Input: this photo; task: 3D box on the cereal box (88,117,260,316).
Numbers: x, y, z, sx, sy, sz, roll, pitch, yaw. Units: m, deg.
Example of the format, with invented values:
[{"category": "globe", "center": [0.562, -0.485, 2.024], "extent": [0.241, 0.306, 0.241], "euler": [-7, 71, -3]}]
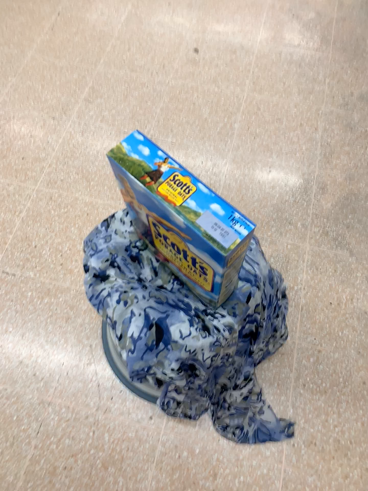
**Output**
[{"category": "cereal box", "center": [-0.011, -0.021, 0.529], "extent": [0.210, 0.249, 0.060], "euler": [42, 75, 17]}]
